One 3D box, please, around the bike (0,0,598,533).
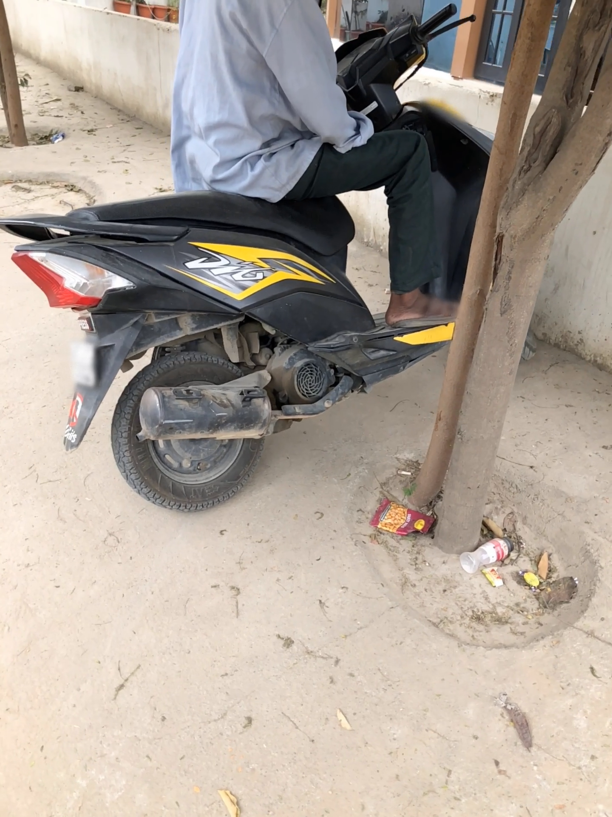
[{"bbox_3d":[0.012,-0.613,1.996,1.578,1.144,0.635,-25,42,-34],"label":"bike"}]
